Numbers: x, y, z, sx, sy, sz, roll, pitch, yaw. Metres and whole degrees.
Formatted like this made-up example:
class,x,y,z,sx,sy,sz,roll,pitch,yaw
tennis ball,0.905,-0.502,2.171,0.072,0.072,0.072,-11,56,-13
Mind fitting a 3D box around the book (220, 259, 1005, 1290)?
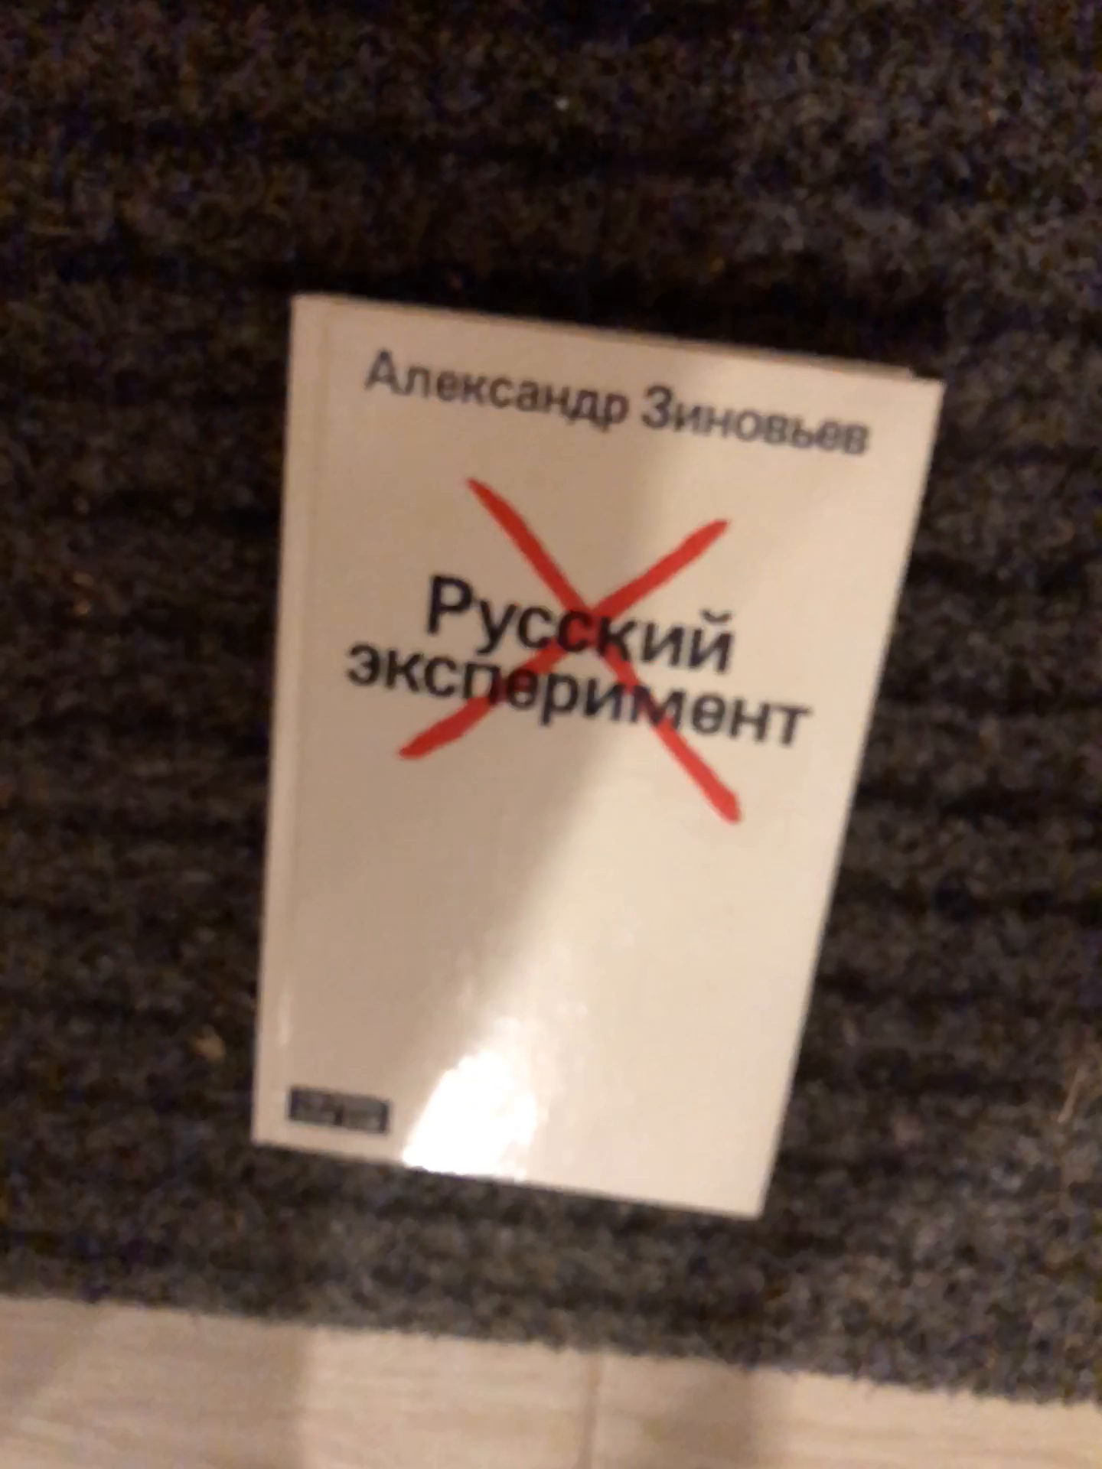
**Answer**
class,x,y,z,sx,sy,sz,roll,pitch,yaw
book,0.002,0.013,0.253,0.120,0.040,0.190,9,110,2
